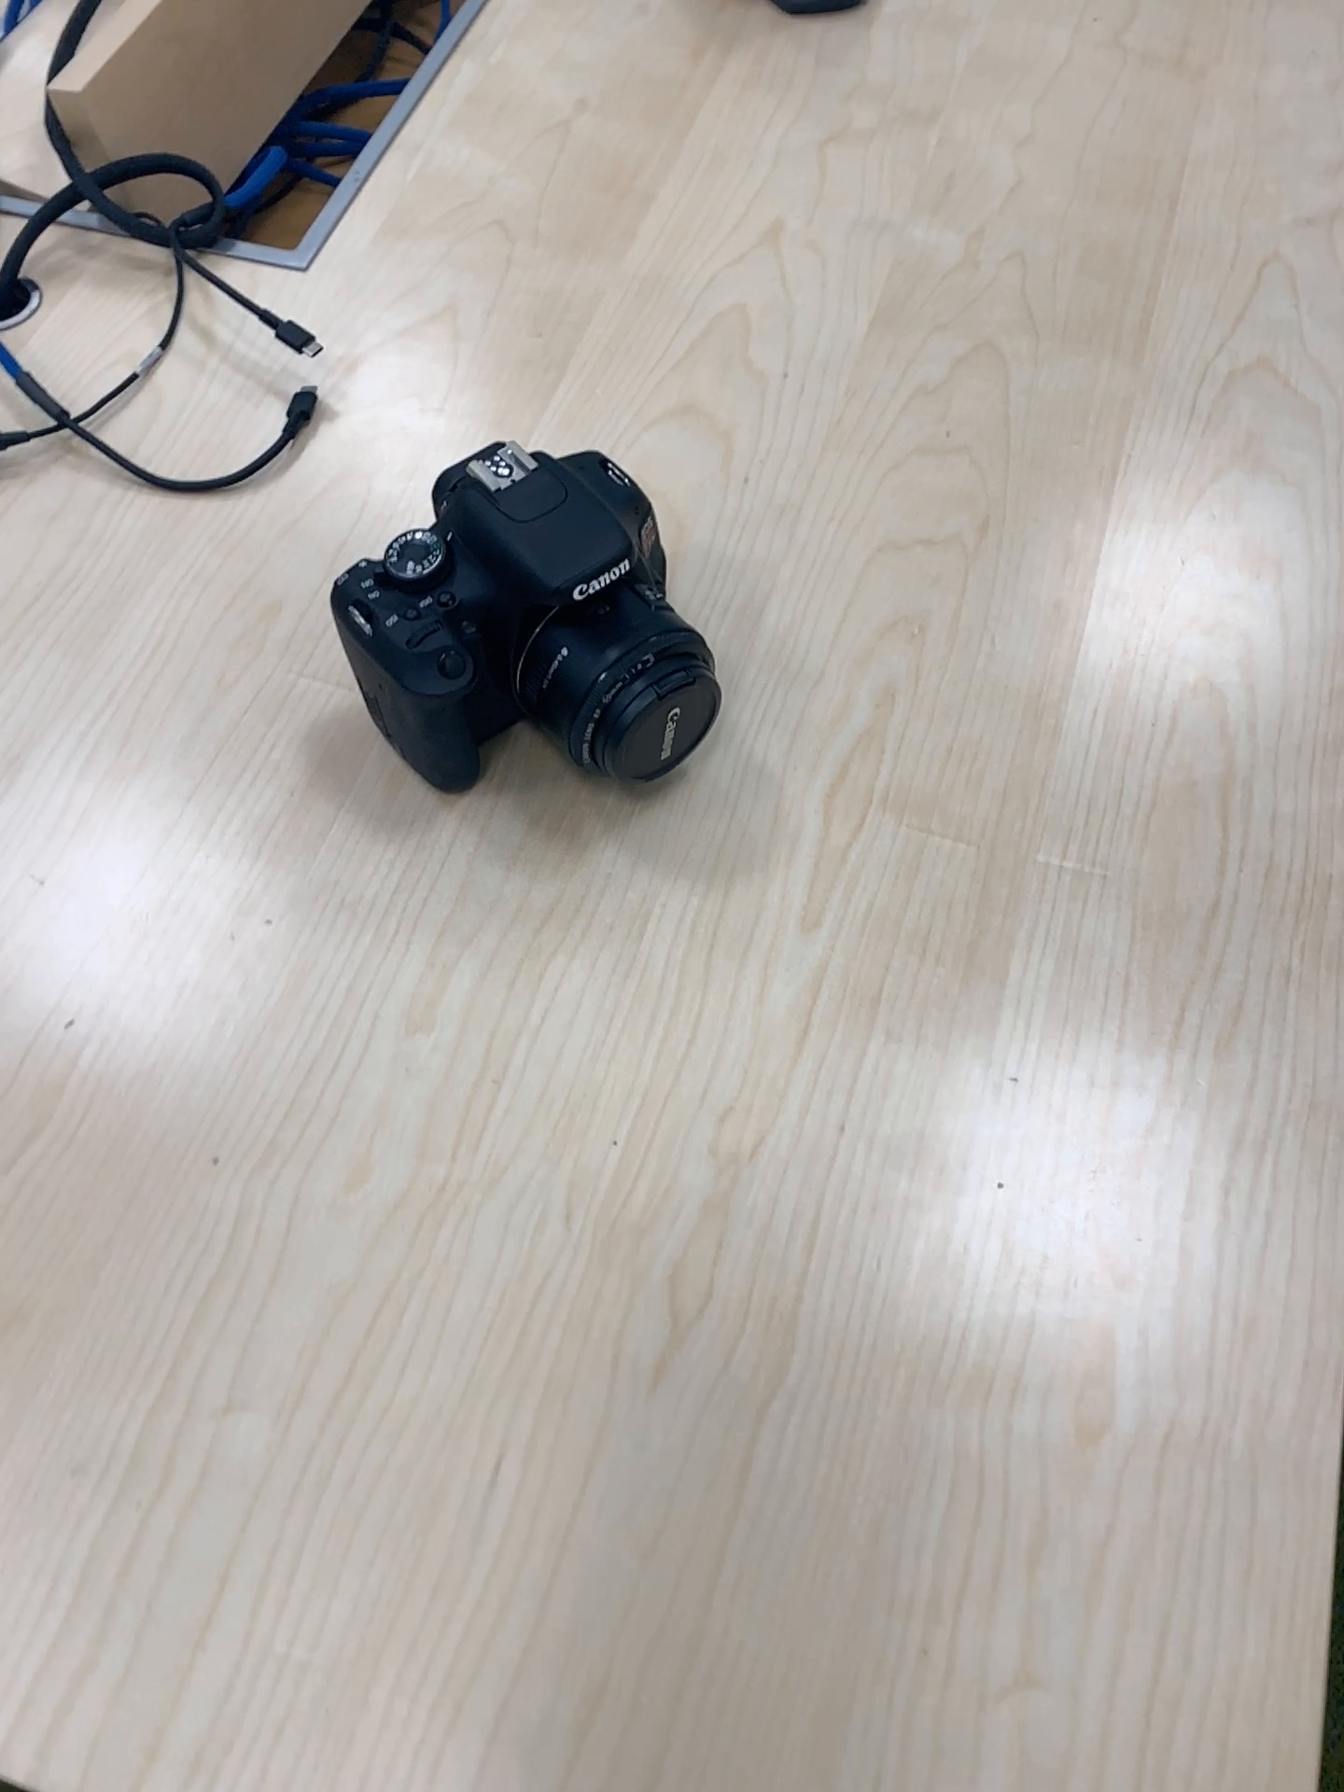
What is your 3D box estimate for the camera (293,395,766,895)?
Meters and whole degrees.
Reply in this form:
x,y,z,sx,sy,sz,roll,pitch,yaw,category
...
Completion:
x,y,z,sx,sy,sz,roll,pitch,yaw,category
-0.053,-0.100,0.552,0.130,0.100,0.119,-34,65,-17,camera
